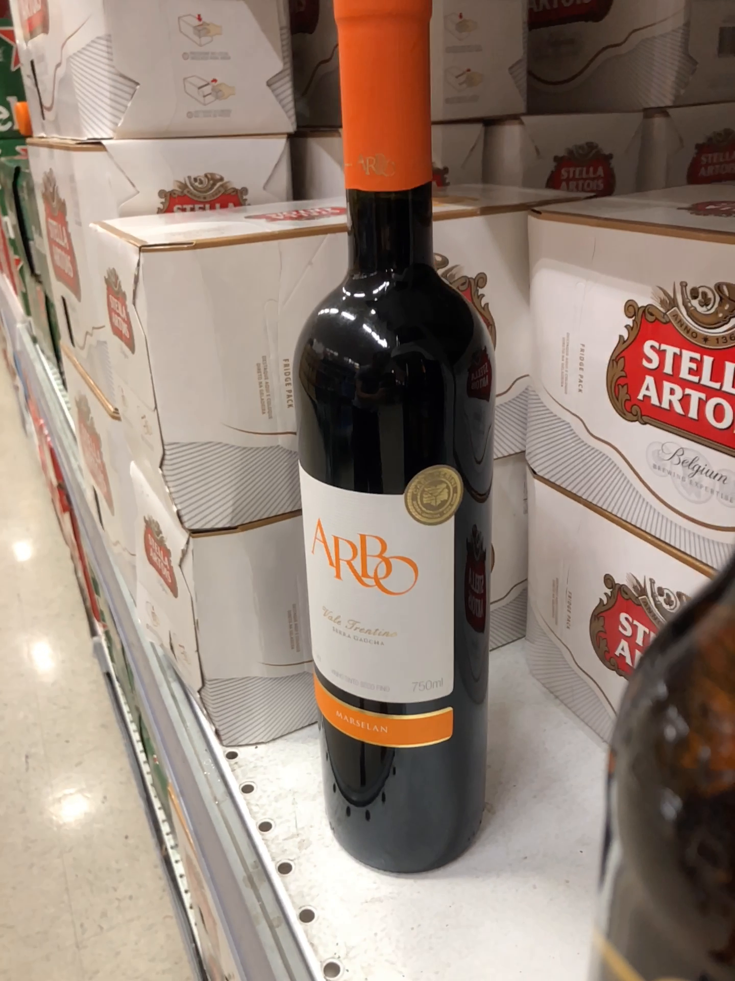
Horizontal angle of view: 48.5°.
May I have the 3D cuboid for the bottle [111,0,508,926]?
[{"bbox_3d":[-0.002,0.001,0.280,0.080,0.308,0.070,8,28,25],"label":"bottle"}]
